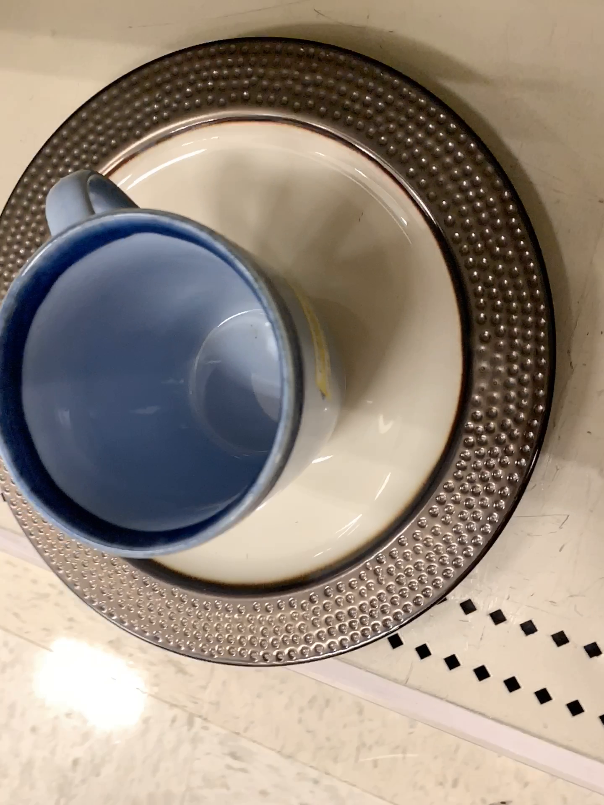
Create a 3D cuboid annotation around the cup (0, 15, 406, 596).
[{"bbox_3d":[-0.043,-0.025,0.215,0.094,0.094,0.127,-30,83,18],"label":"cup"}]
